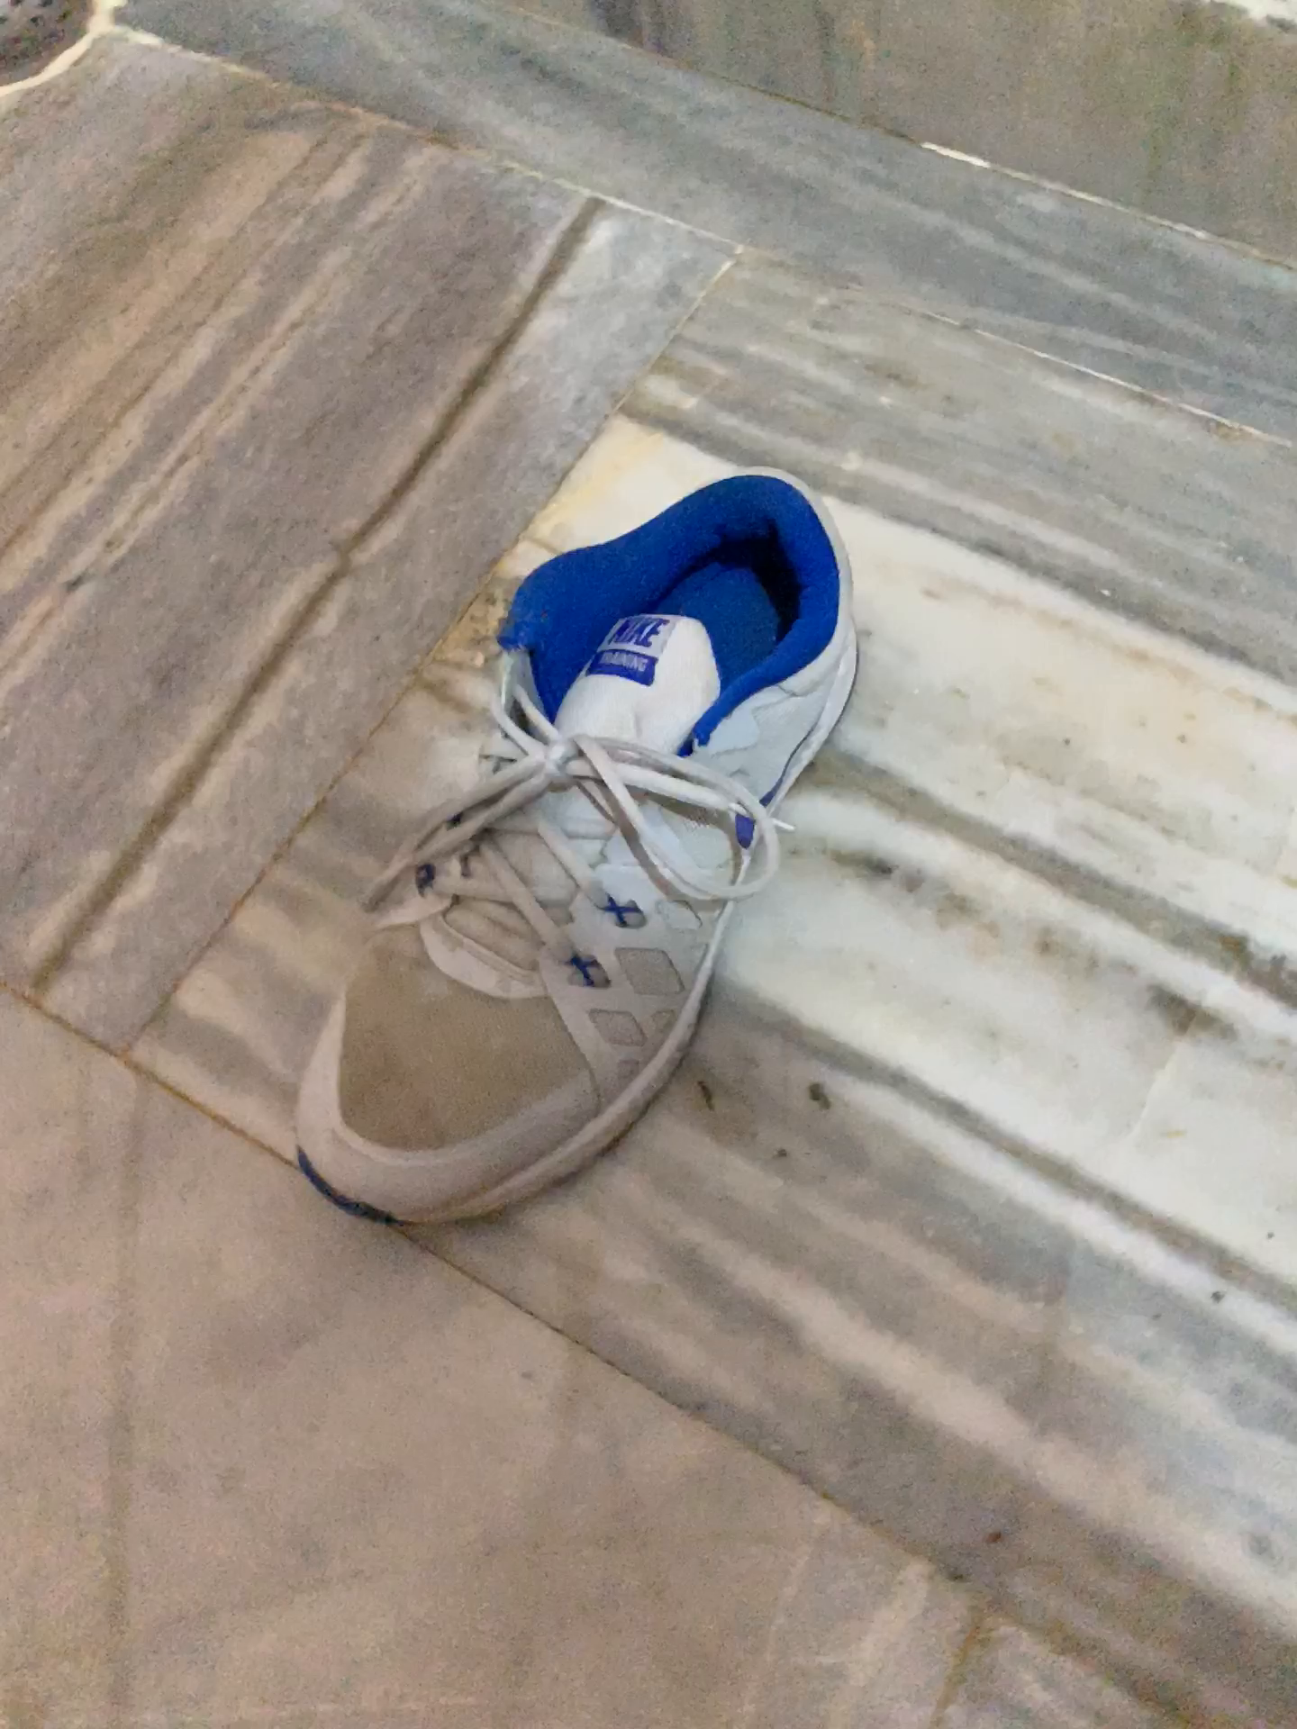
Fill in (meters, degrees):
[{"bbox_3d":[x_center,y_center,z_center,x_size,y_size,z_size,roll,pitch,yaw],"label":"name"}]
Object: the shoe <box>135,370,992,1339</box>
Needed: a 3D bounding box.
[{"bbox_3d":[-0.013,-0.010,0.452,0.116,0.100,0.299,29,70,15],"label":"shoe"}]
